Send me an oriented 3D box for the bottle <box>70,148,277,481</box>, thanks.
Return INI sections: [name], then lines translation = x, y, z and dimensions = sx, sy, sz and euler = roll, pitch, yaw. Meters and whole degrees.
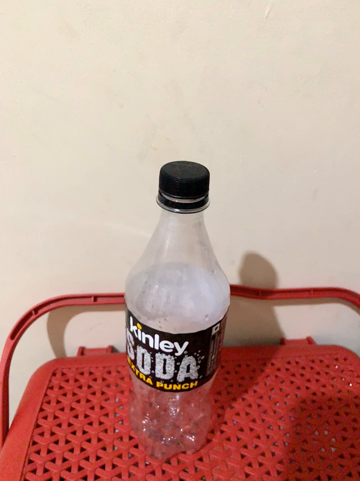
[bottle]
translation = -0.005, 0.067, 0.252
dimensions = 0.080, 0.228, 0.070
euler = 16, 37, 17
